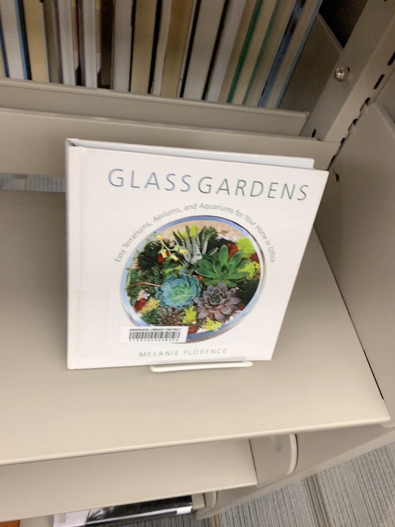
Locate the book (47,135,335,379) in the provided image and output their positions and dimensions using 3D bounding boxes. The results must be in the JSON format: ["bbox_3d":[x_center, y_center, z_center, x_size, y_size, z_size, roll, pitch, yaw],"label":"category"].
[{"bbox_3d":[-0.012,0.006,0.302,0.180,0.174,0.030,1,30,-15],"label":"book"}]
